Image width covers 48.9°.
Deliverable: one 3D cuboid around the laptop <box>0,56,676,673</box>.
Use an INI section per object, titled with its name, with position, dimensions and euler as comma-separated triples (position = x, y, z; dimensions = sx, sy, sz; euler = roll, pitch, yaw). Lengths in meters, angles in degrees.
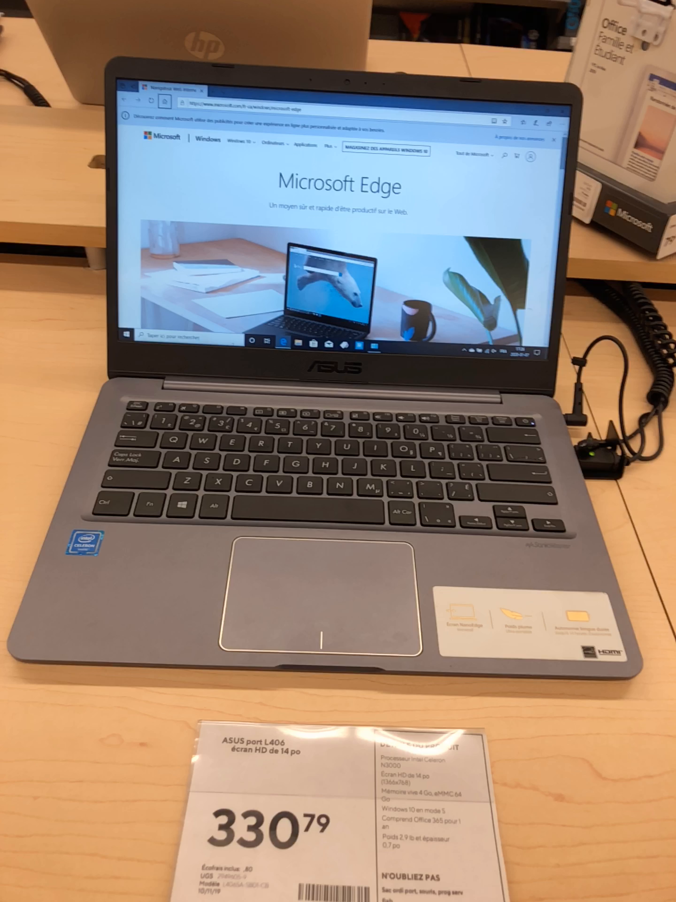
[laptop]
position = 0.002, -0.071, 0.433
dimensions = 0.309, 0.172, 0.328
euler = 2, 45, -2
